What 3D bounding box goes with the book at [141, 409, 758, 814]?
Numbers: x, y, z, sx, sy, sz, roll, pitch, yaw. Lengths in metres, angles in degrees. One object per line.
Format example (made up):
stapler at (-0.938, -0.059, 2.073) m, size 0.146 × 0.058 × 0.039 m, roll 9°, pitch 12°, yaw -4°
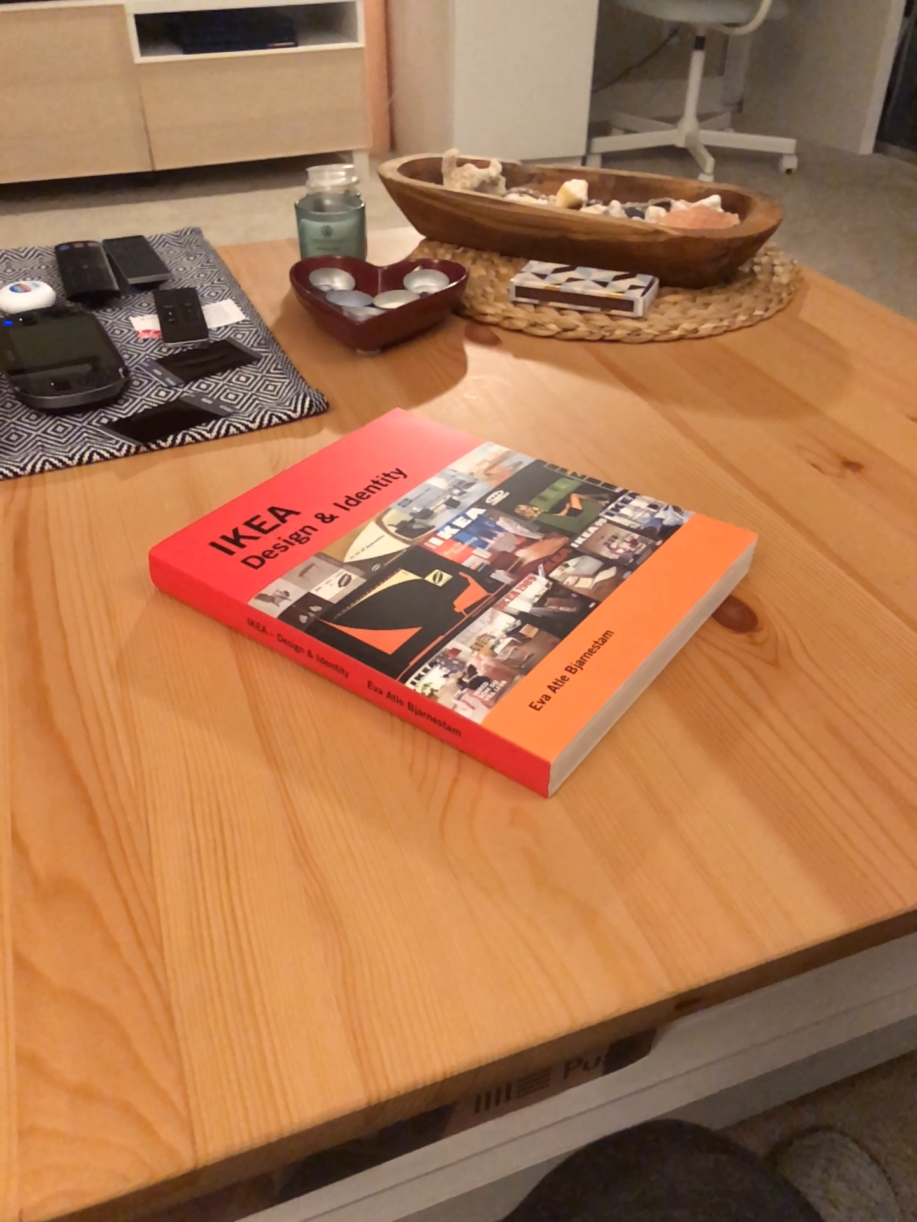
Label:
book at (-0.001, -0.024, 0.553) m, size 0.254 × 0.030 × 0.217 m, roll 24°, pitch 43°, yaw 28°
